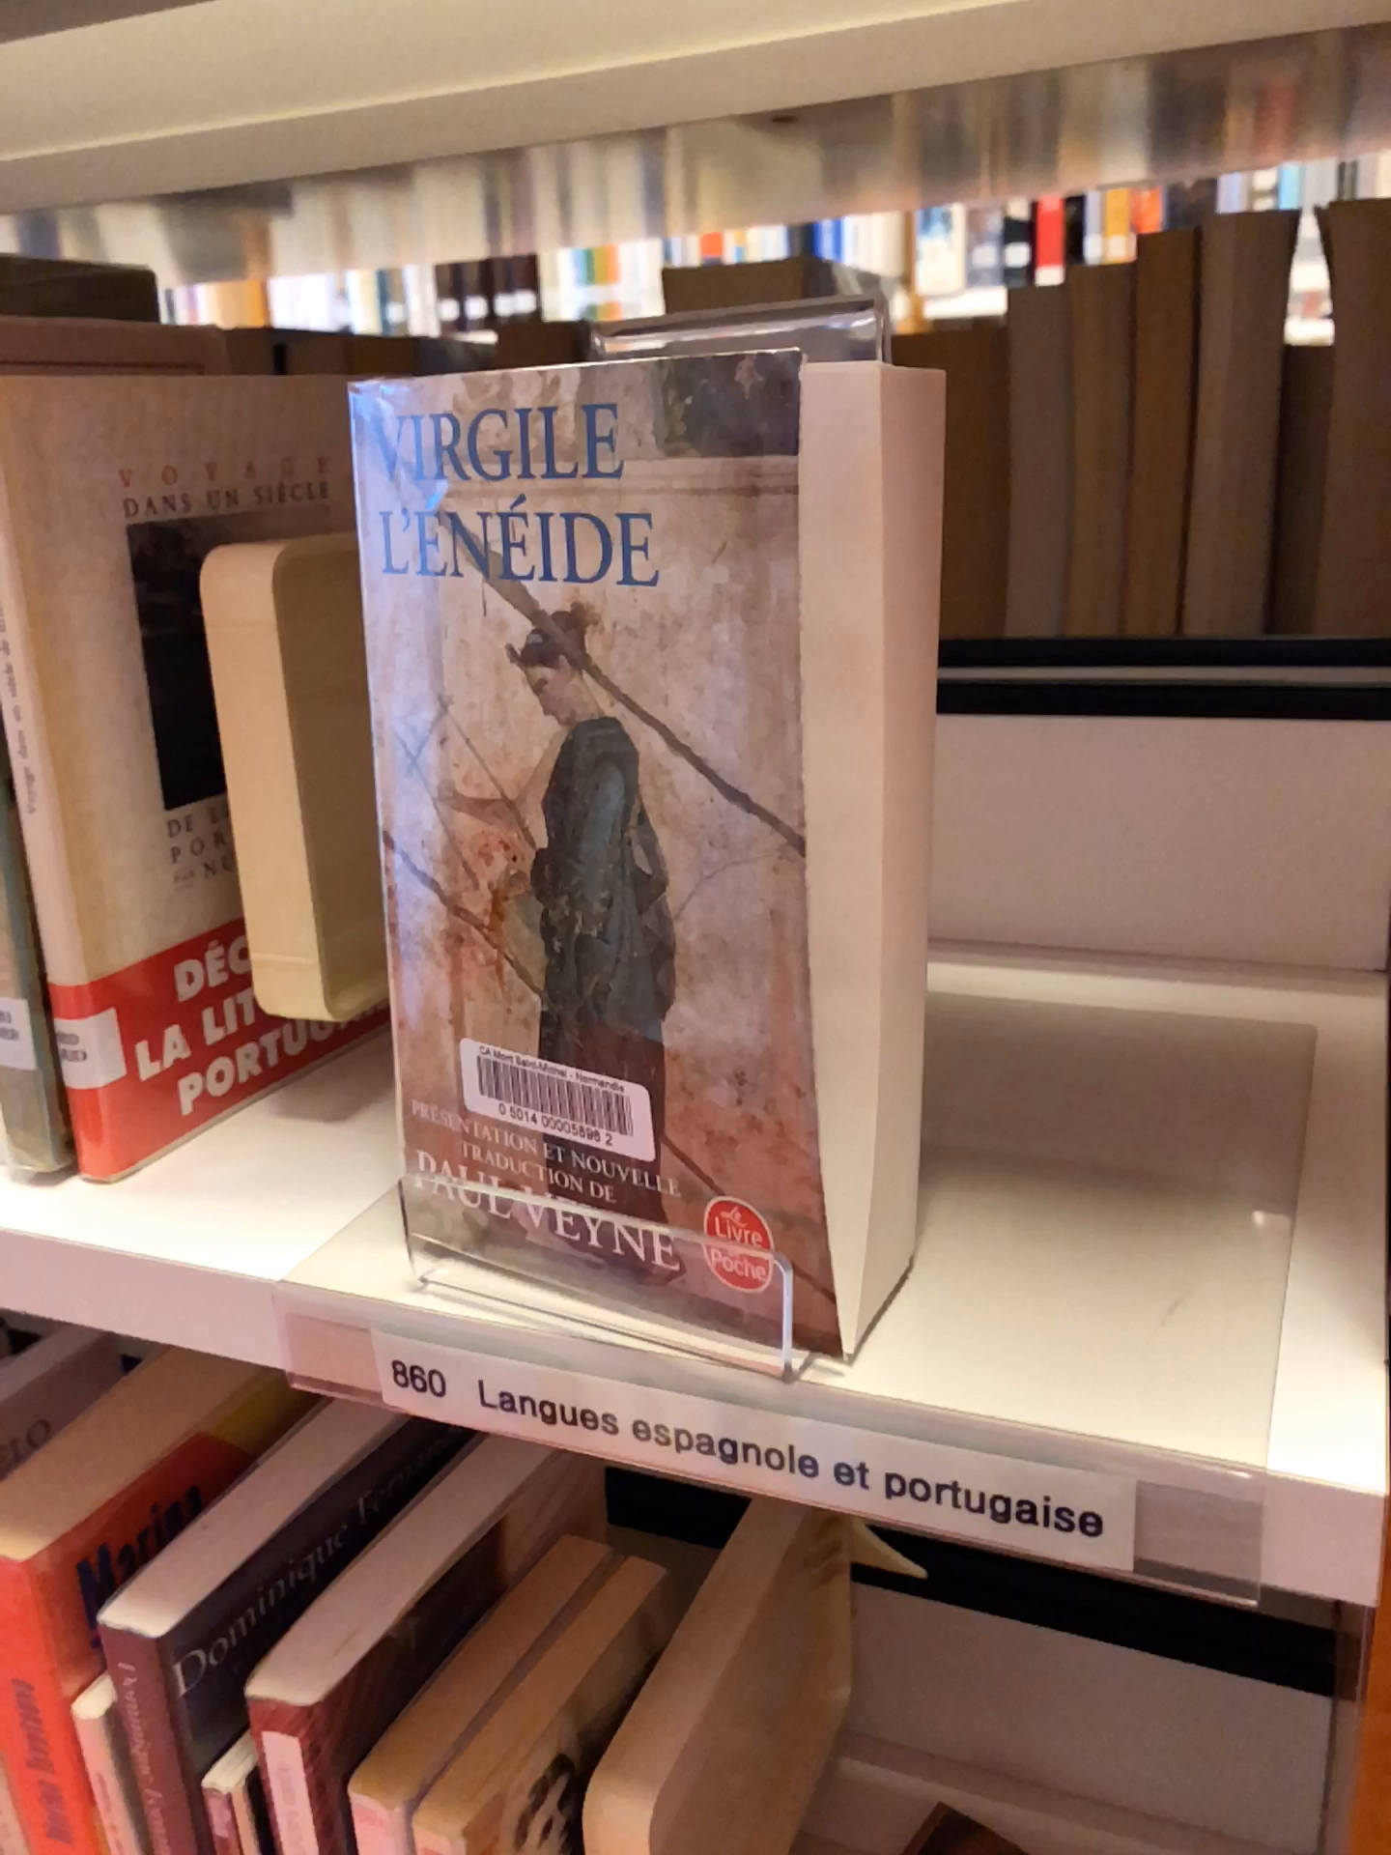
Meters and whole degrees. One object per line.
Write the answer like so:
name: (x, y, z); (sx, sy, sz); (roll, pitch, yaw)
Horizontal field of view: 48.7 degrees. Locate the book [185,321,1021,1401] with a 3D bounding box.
book: (-0.014, -0.020, 0.297); (0.131, 0.168, 0.074); (8, 19, 32)
